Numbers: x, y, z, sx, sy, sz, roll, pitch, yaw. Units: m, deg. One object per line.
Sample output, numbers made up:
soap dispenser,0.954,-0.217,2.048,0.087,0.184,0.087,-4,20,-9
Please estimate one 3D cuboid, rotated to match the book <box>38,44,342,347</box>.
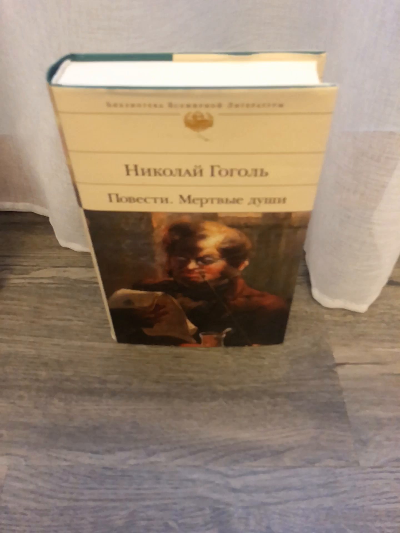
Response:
book,-0.003,-0.025,0.282,0.133,0.209,0.041,0,46,1
